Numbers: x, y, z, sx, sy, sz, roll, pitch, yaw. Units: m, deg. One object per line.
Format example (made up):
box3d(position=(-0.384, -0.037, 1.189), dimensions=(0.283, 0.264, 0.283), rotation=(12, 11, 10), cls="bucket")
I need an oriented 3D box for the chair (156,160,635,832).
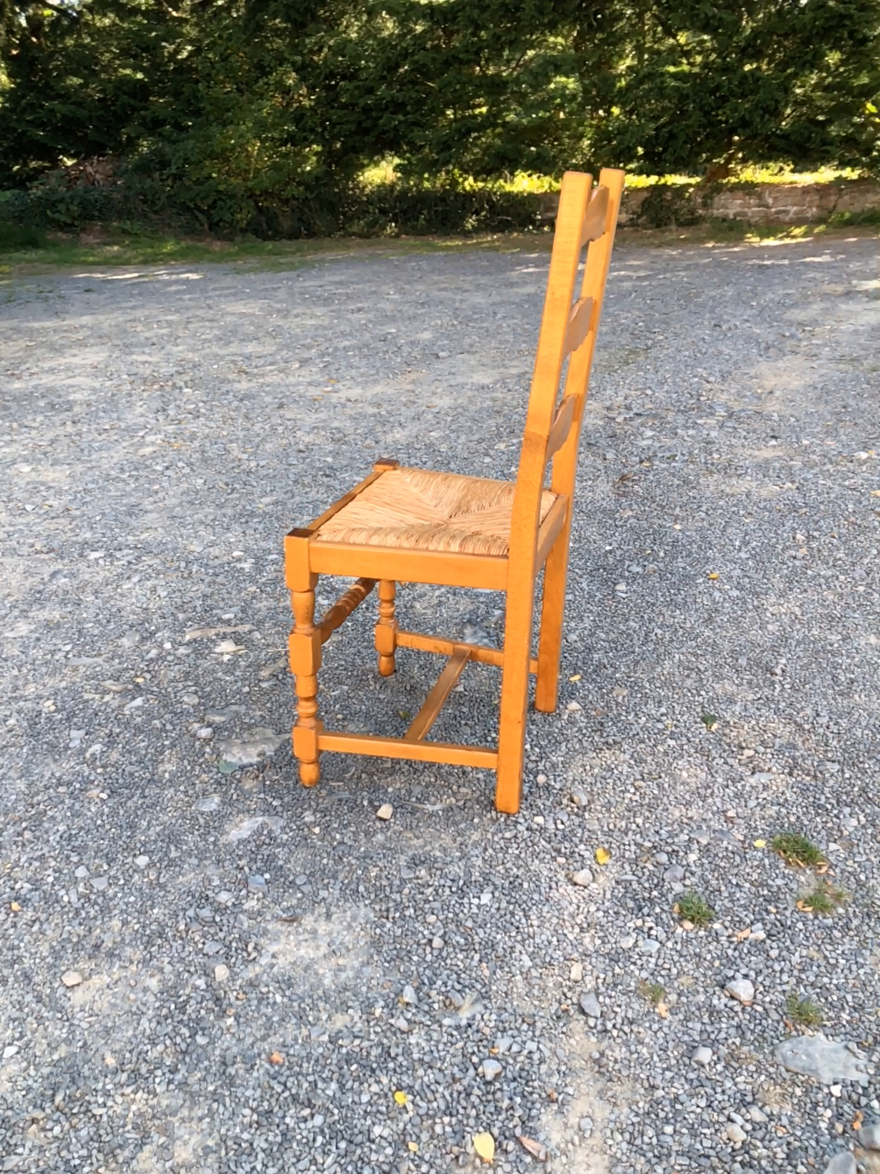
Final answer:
box3d(position=(-0.021, -0.185, 1.515), dimensions=(0.520, 0.885, 0.533), rotation=(7, 25, 15), cls="chair")
